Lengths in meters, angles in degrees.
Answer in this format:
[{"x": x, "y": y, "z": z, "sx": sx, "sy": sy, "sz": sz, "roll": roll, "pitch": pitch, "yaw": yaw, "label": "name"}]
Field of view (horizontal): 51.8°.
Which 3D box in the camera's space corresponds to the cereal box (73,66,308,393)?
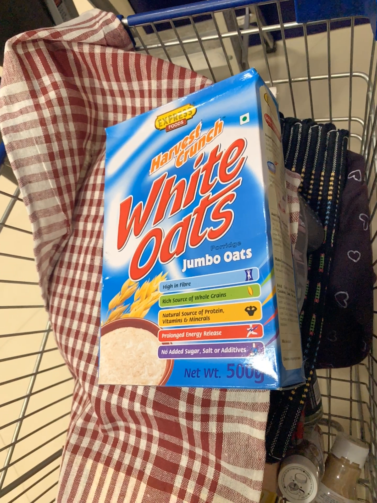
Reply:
[{"x": -0.004, "y": -0.006, "z": 0.288, "sx": 0.150, "sy": 0.060, "sz": 0.200, "roll": -9, "pitch": 73, "yaw": 29, "label": "cereal box"}]
